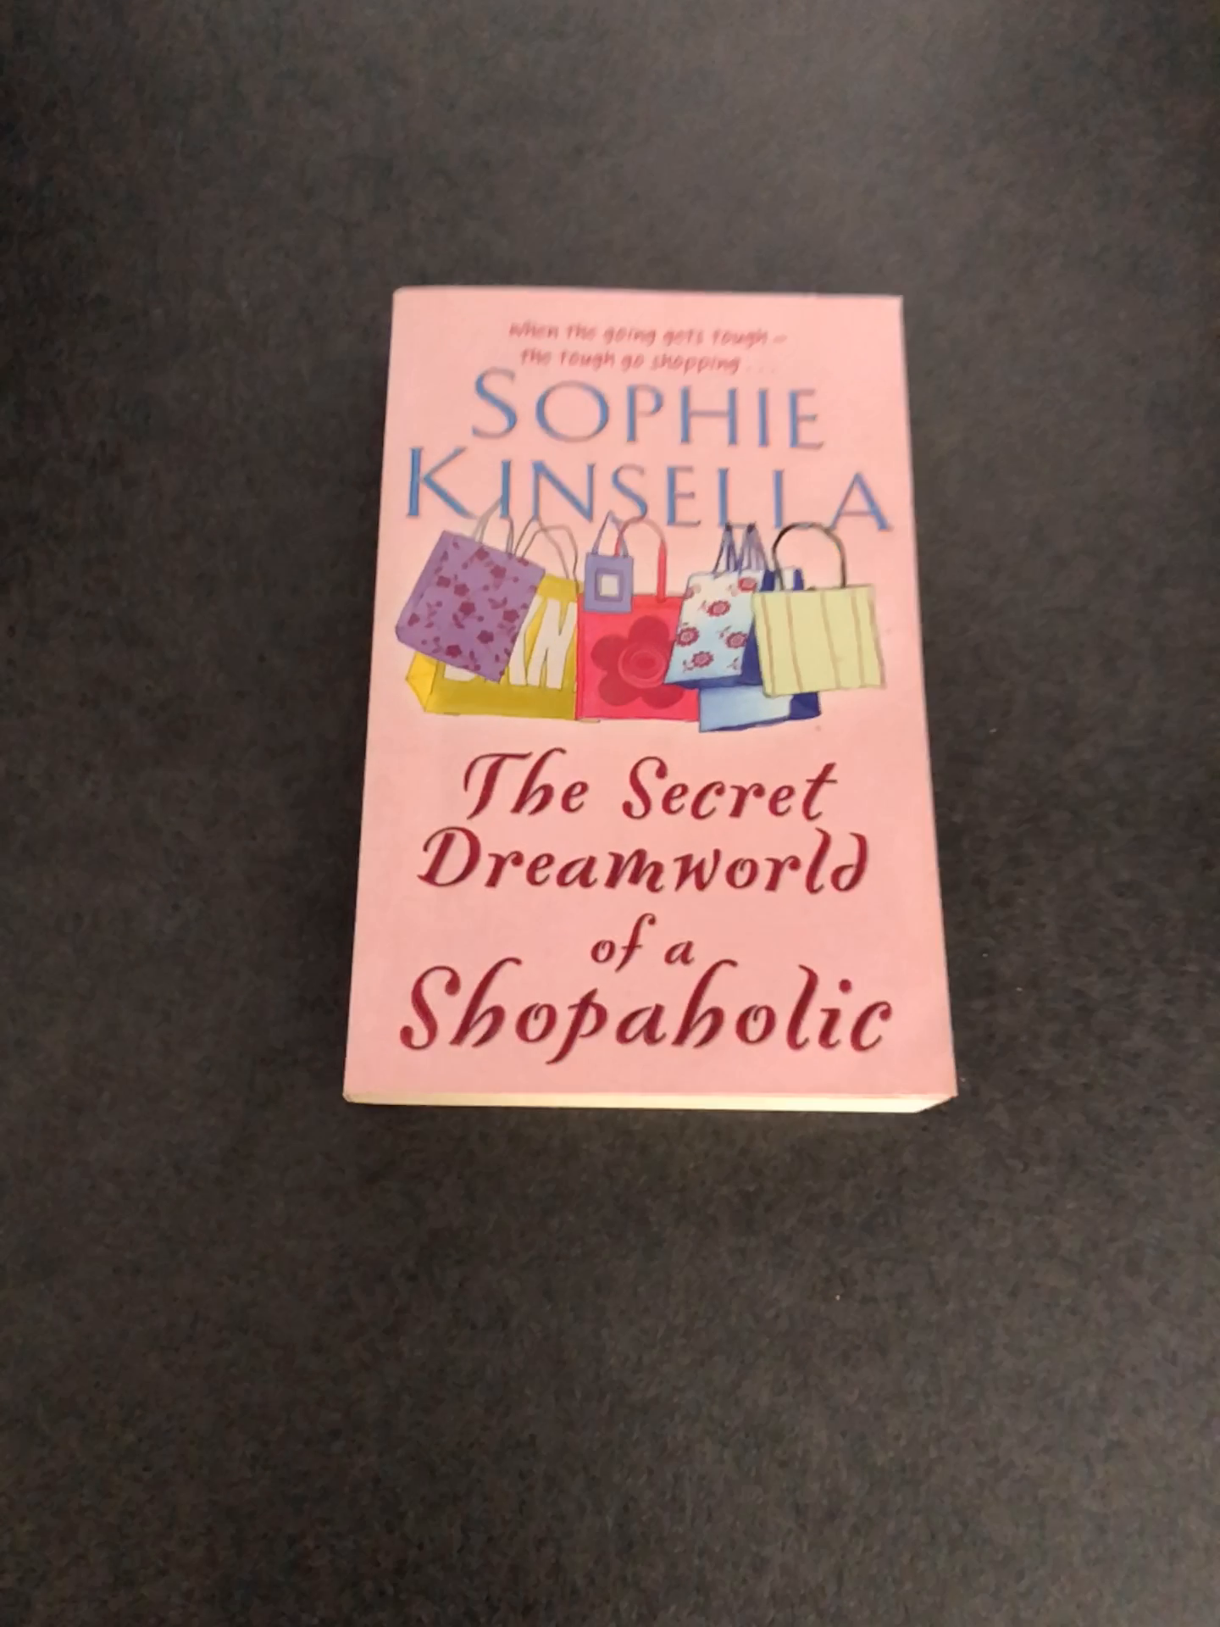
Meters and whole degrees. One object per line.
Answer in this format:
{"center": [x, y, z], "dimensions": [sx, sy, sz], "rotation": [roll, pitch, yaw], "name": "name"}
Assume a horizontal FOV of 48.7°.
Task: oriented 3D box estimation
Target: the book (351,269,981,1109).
{"center": [0.011, -0.033, 0.321], "dimensions": [0.130, 0.030, 0.200], "rotation": [1, 72, -5], "name": "book"}
